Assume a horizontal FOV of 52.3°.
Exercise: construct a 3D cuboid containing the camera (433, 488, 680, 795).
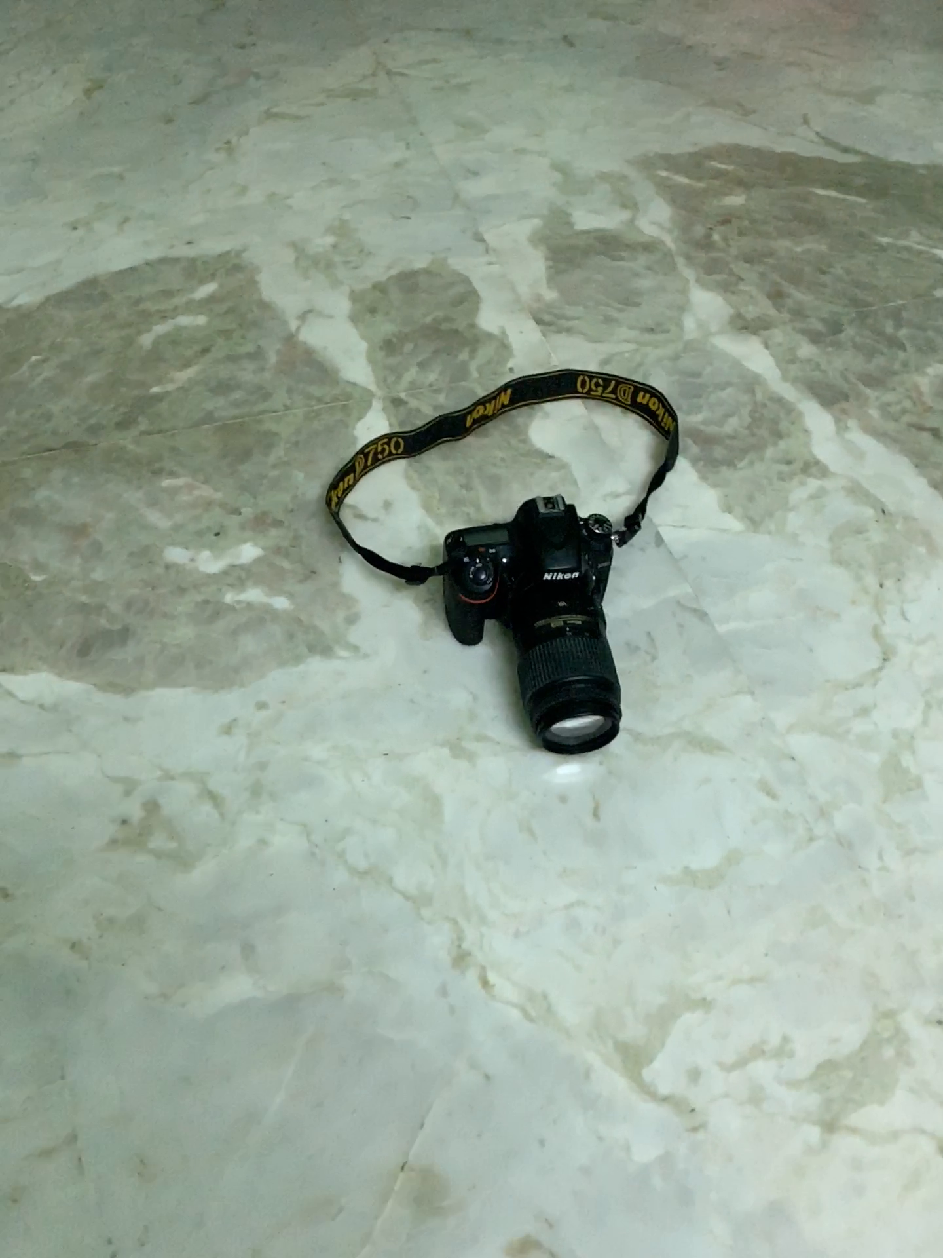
[{"bbox_3d":[0.056,0.006,0.764,0.150,0.120,0.201,-5,51,-5],"label":"camera"}]
